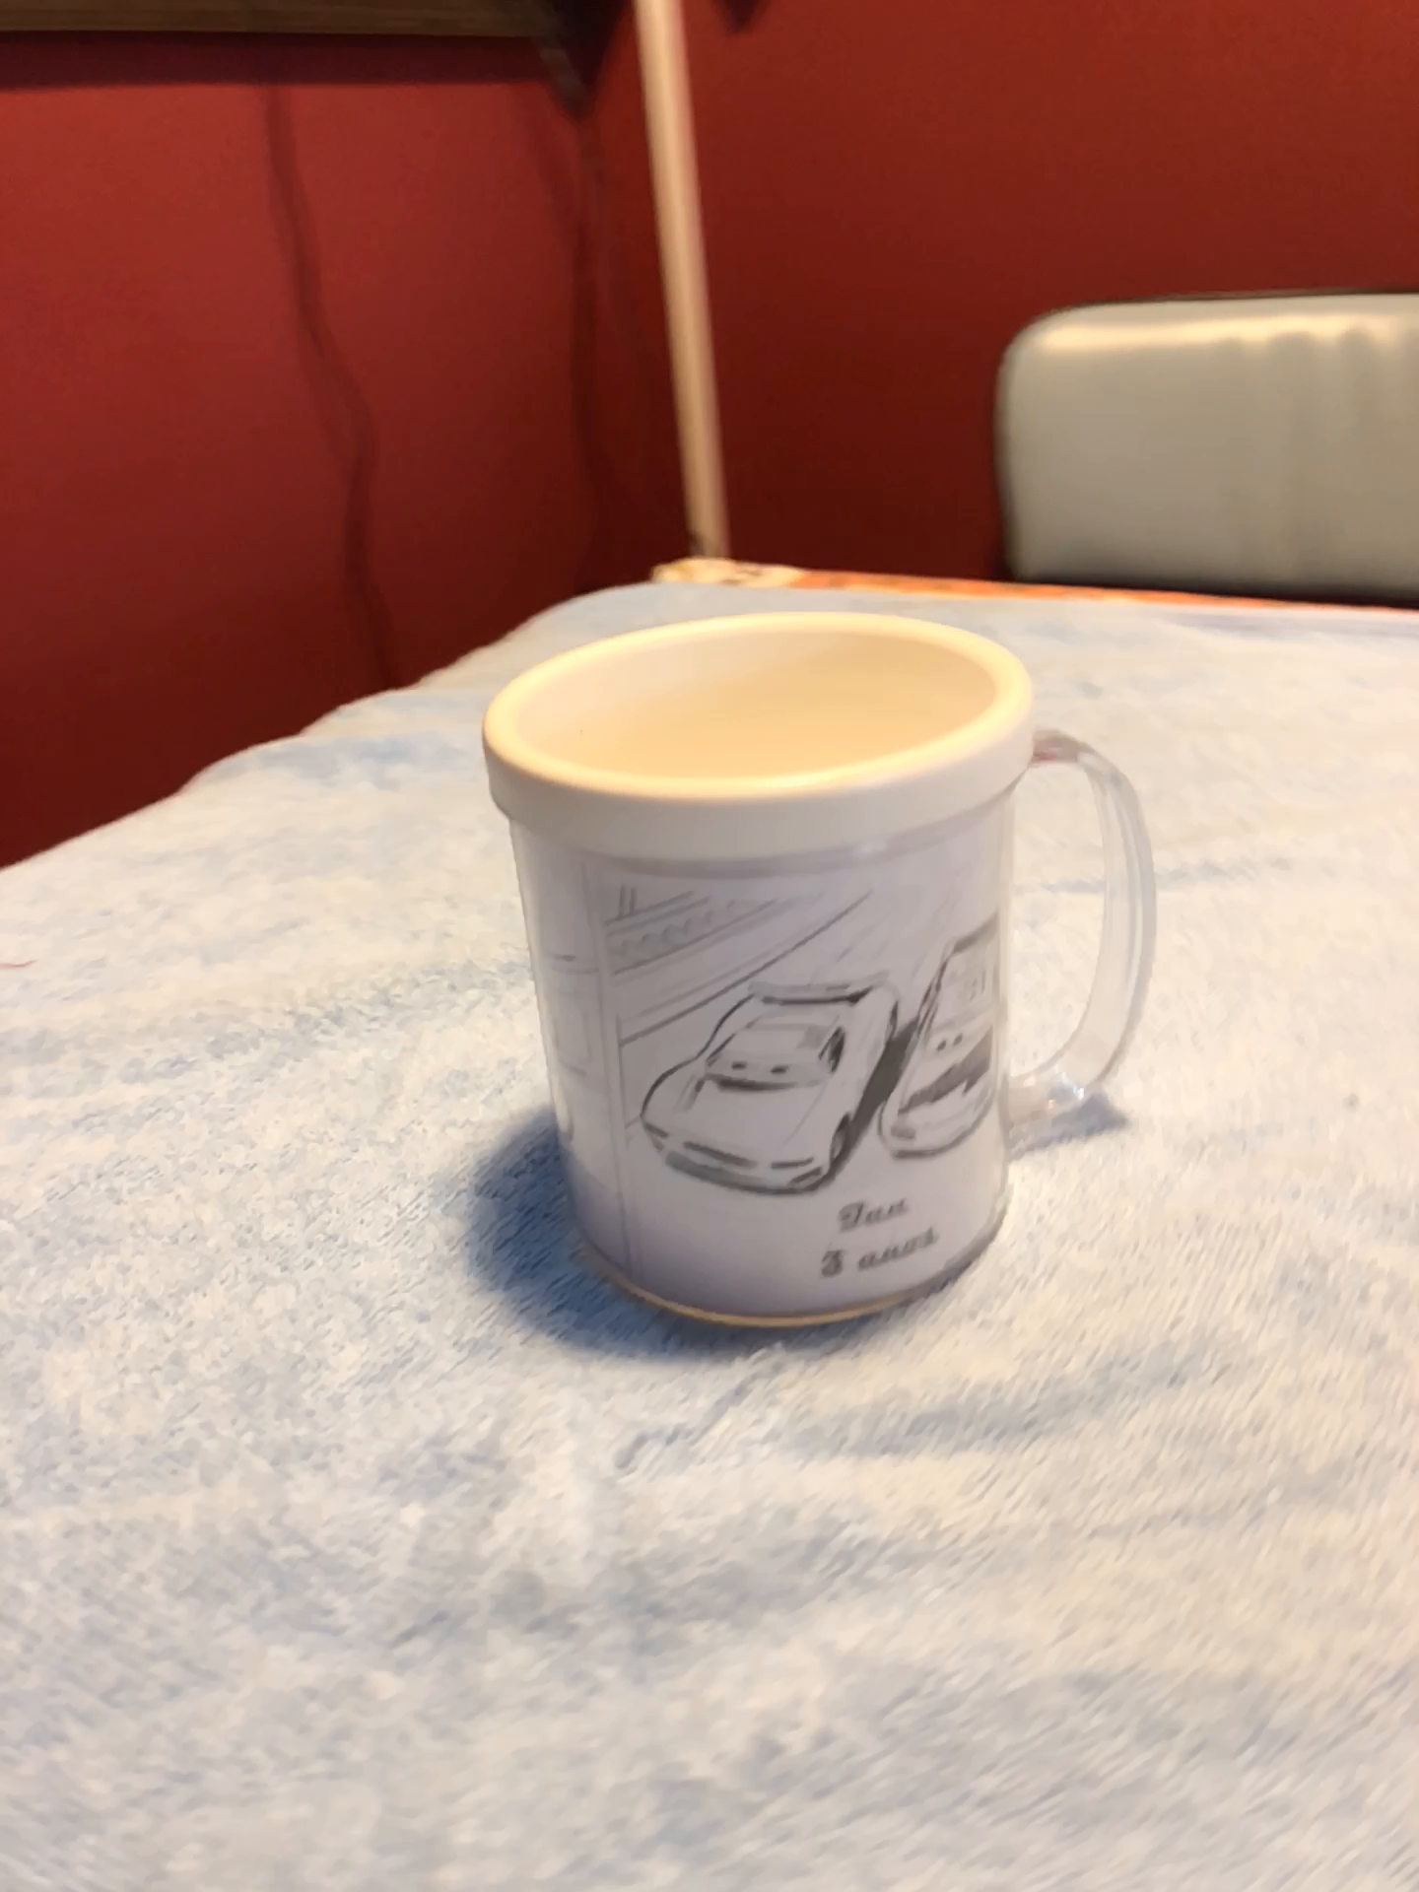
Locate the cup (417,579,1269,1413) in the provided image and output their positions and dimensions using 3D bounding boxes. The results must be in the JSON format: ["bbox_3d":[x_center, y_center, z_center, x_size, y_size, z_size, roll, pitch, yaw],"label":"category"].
[{"bbox_3d":[0.018,0.002,0.281,0.120,0.099,0.091,-10,26,-8],"label":"cup"}]
